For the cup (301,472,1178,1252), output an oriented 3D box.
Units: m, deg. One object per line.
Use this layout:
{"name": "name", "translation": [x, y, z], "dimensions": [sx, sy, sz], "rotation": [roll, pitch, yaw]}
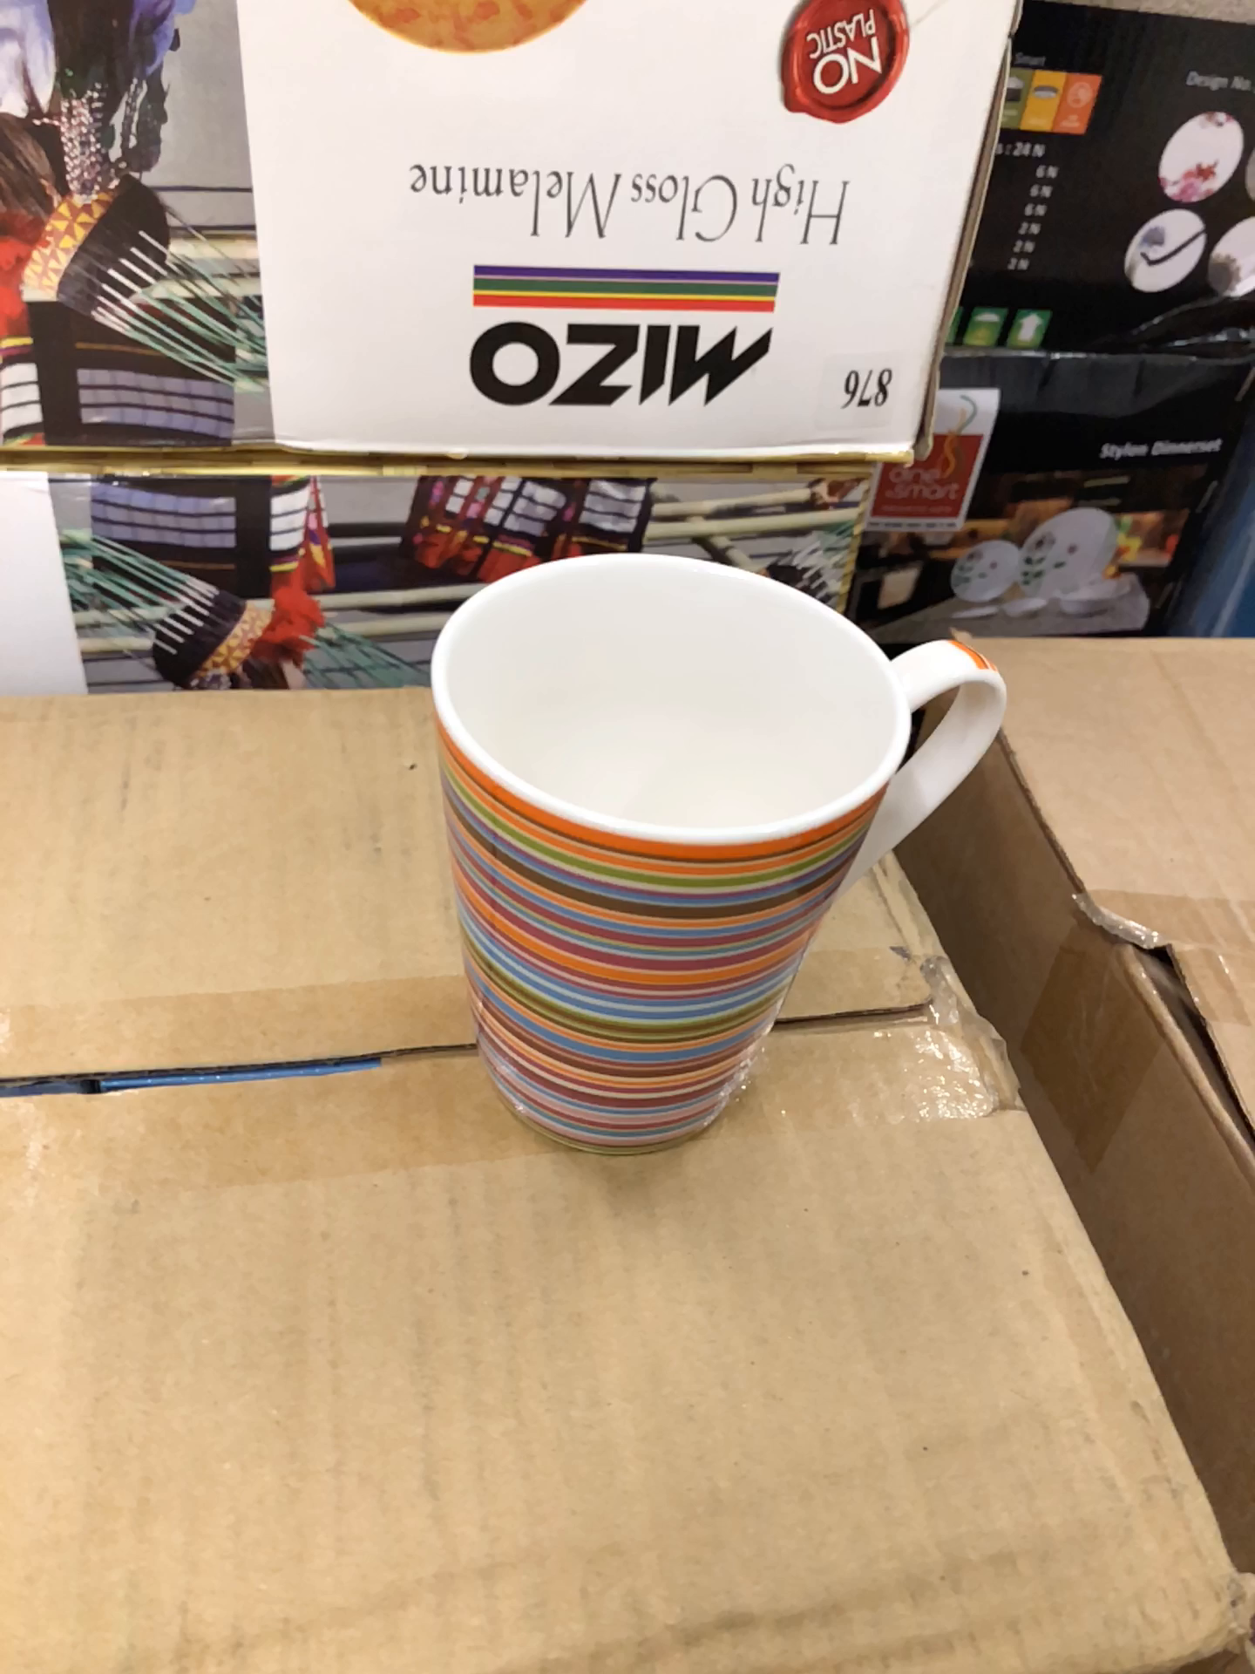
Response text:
{"name": "cup", "translation": [0.016, -0.002, 0.270], "dimensions": [0.131, 0.089, 0.080], "rotation": [-17, 47, -26]}
